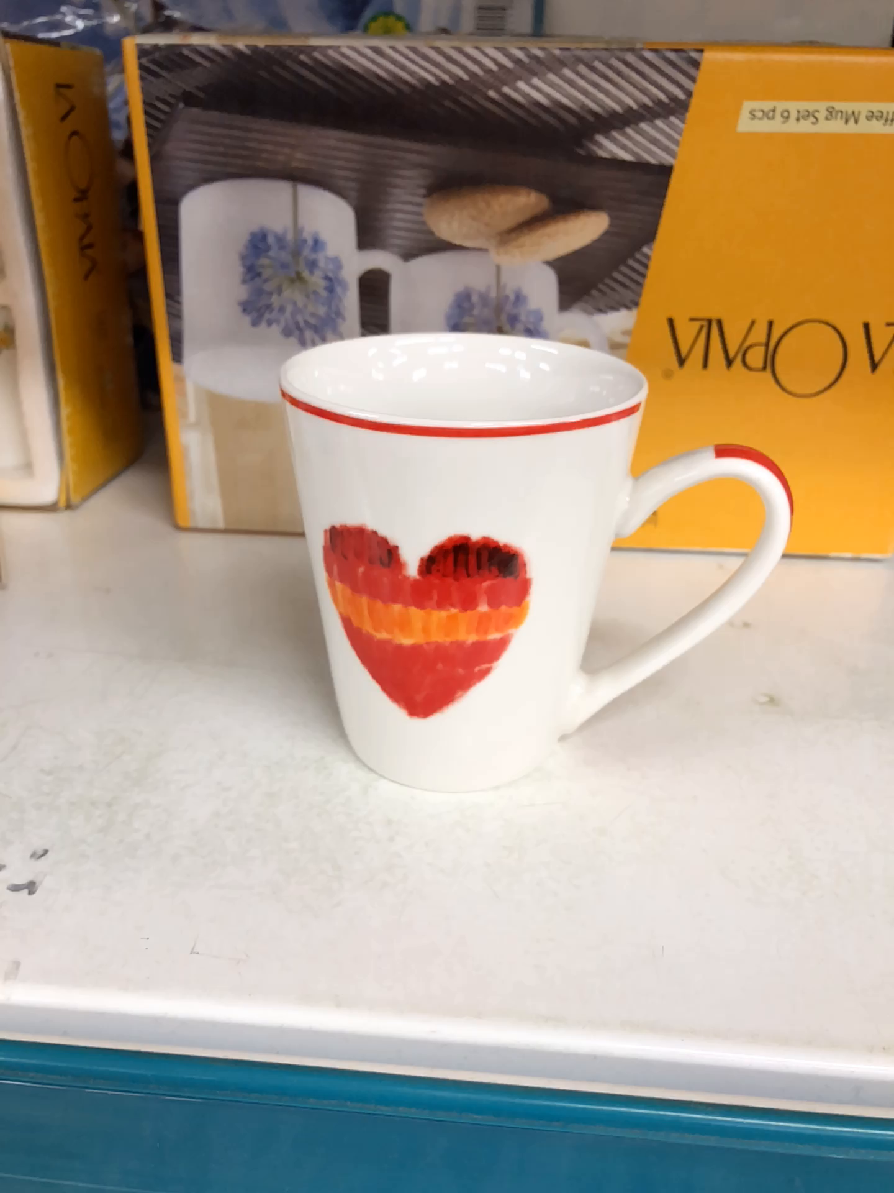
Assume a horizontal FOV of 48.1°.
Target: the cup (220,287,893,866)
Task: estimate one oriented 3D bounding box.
[{"bbox_3d":[0.023,-0.012,0.234,0.120,0.099,0.081,6,26,9],"label":"cup"}]
